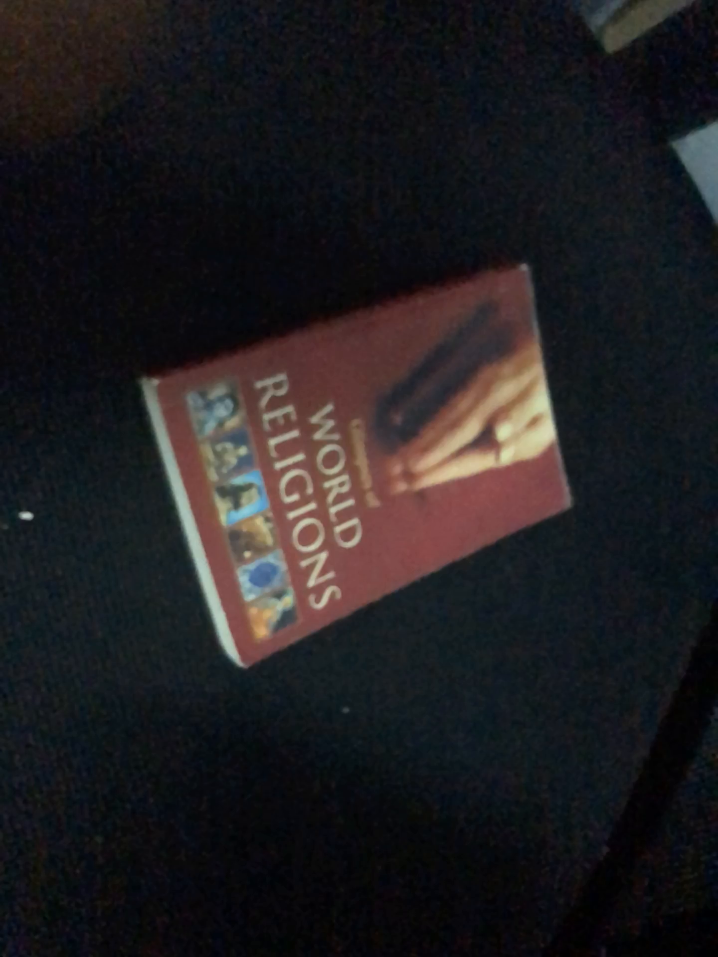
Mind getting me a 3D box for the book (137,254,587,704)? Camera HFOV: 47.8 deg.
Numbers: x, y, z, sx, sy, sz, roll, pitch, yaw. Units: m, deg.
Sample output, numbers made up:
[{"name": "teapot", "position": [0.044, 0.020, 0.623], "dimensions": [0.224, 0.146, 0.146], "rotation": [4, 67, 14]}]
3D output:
[{"name": "book", "position": [0.019, -0.008, 0.364], "dimensions": [0.201, 0.020, 0.140], "rotation": [-23, 113, -27]}]
